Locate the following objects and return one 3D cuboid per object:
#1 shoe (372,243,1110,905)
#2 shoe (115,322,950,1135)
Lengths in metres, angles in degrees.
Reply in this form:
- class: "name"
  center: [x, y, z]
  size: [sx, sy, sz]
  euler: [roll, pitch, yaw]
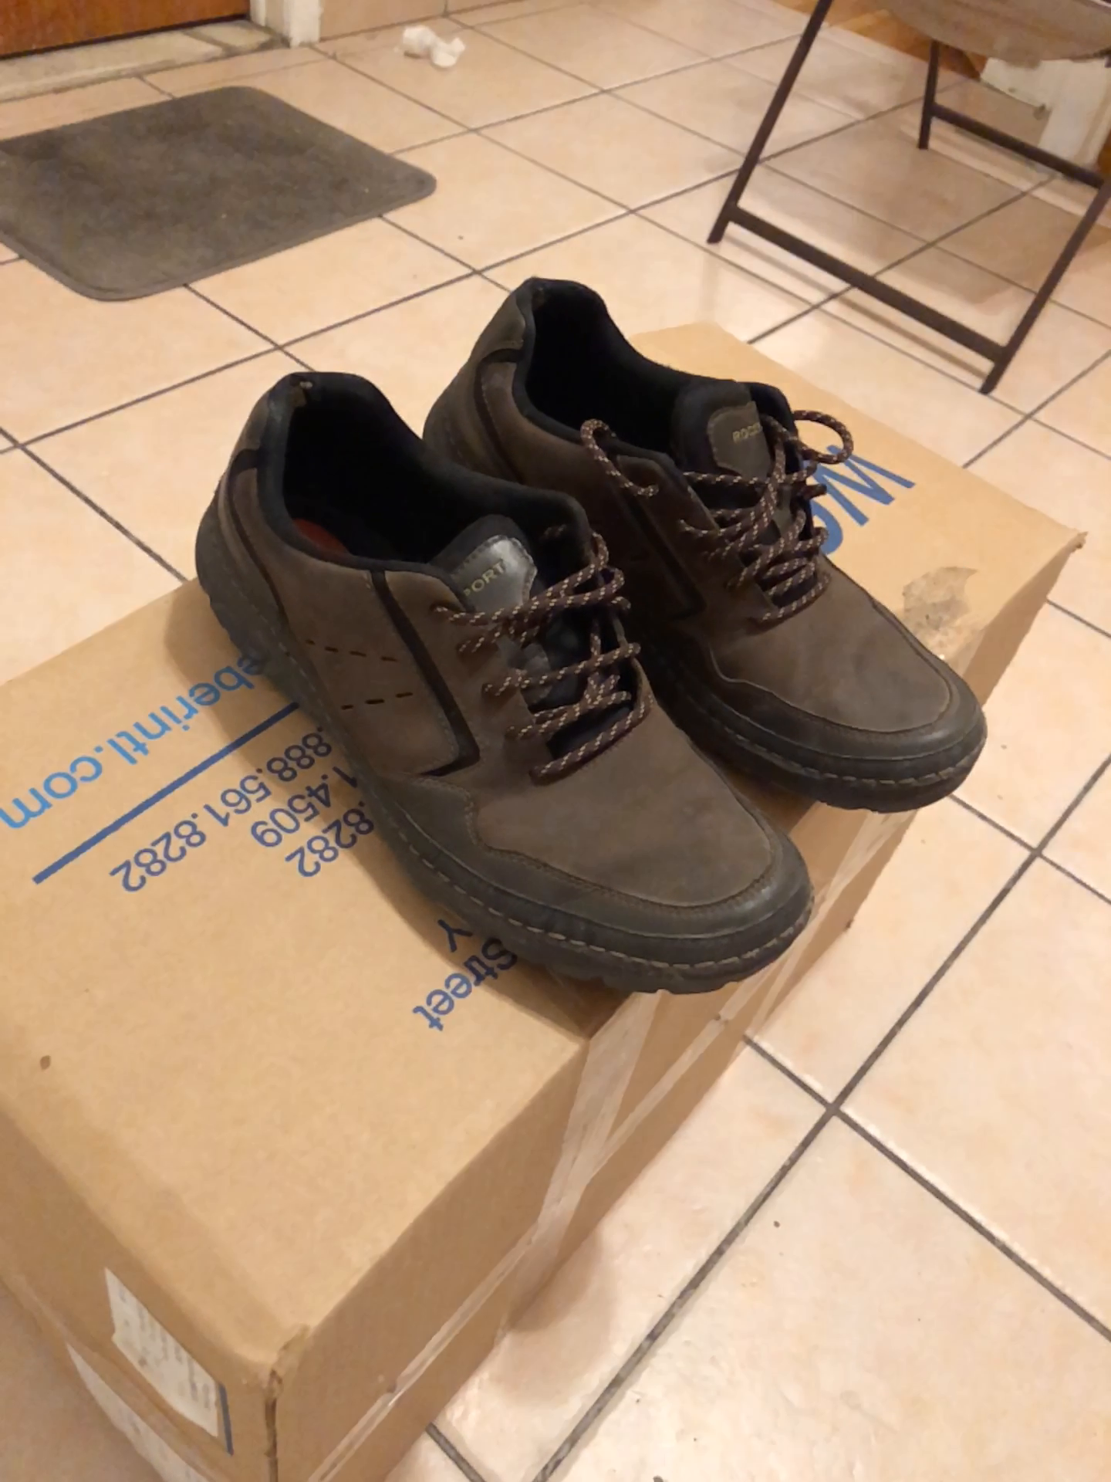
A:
- class: "shoe"
  center: [0.059, -0.085, 0.517]
  size: [0.111, 0.109, 0.291]
  euler: [-32, 60, -34]
- class: "shoe"
  center: [-0.025, -0.020, 0.436]
  size: [0.111, 0.109, 0.281]
  euler: [-32, 61, -34]
